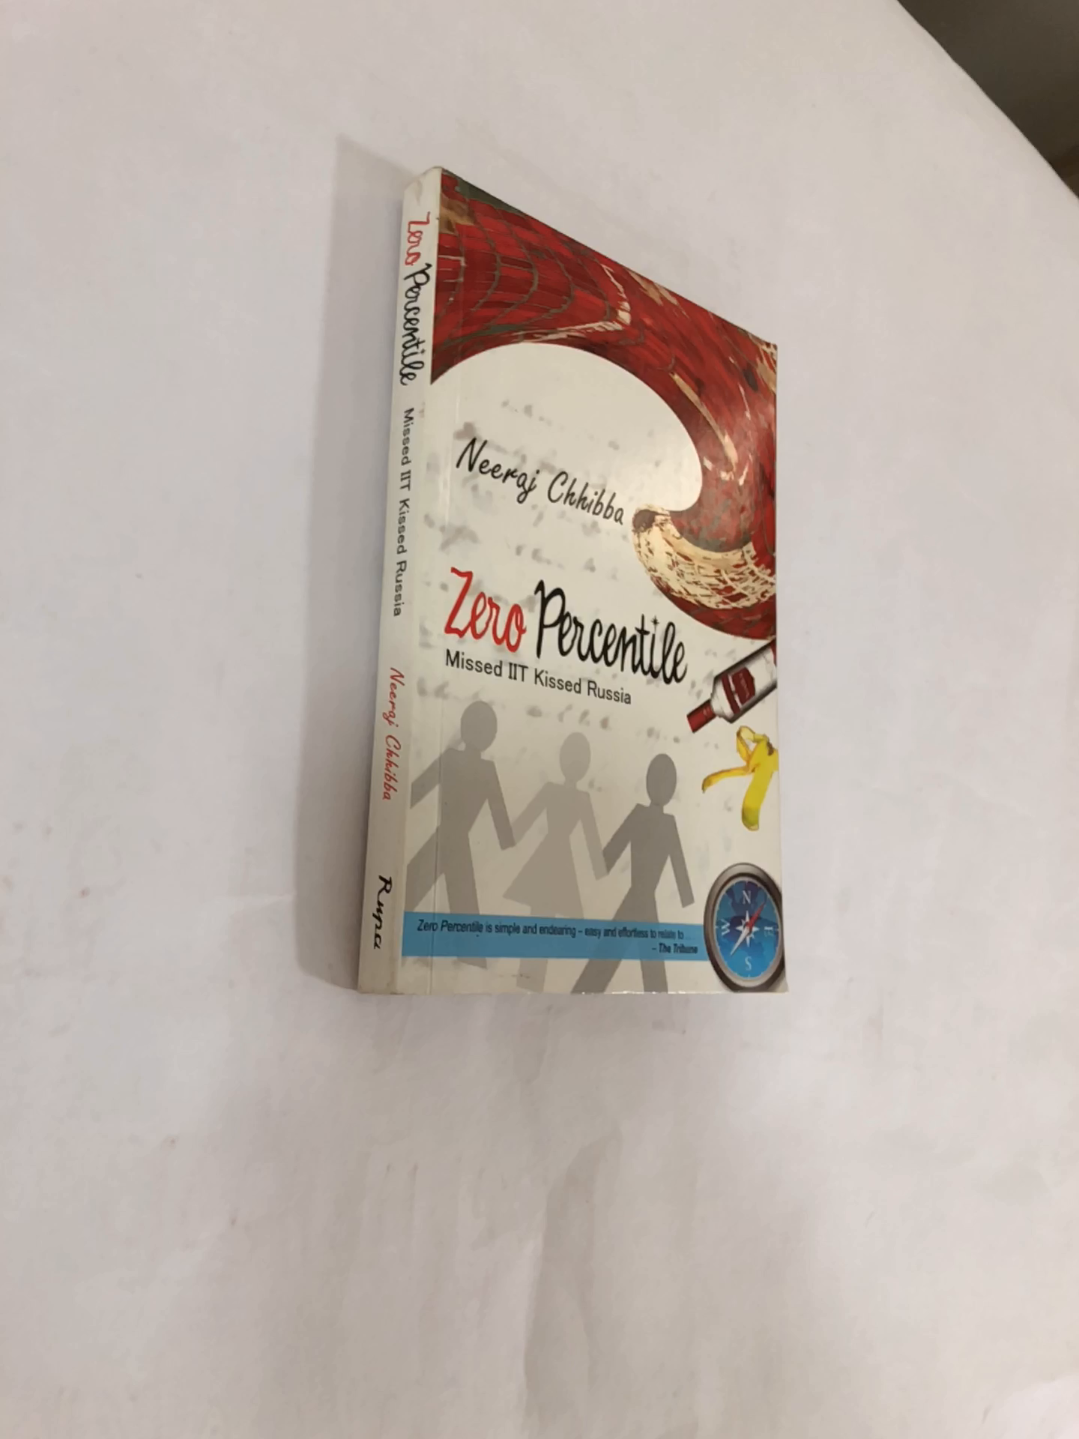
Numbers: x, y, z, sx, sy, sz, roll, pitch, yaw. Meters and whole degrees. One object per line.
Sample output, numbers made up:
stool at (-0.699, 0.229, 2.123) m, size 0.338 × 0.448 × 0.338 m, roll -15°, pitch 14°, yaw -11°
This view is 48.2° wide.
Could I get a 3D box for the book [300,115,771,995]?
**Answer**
book at (0.009, -0.032, 0.312) m, size 0.132 × 0.021 × 0.200 m, roll 11°, pitch 75°, yaw -40°
